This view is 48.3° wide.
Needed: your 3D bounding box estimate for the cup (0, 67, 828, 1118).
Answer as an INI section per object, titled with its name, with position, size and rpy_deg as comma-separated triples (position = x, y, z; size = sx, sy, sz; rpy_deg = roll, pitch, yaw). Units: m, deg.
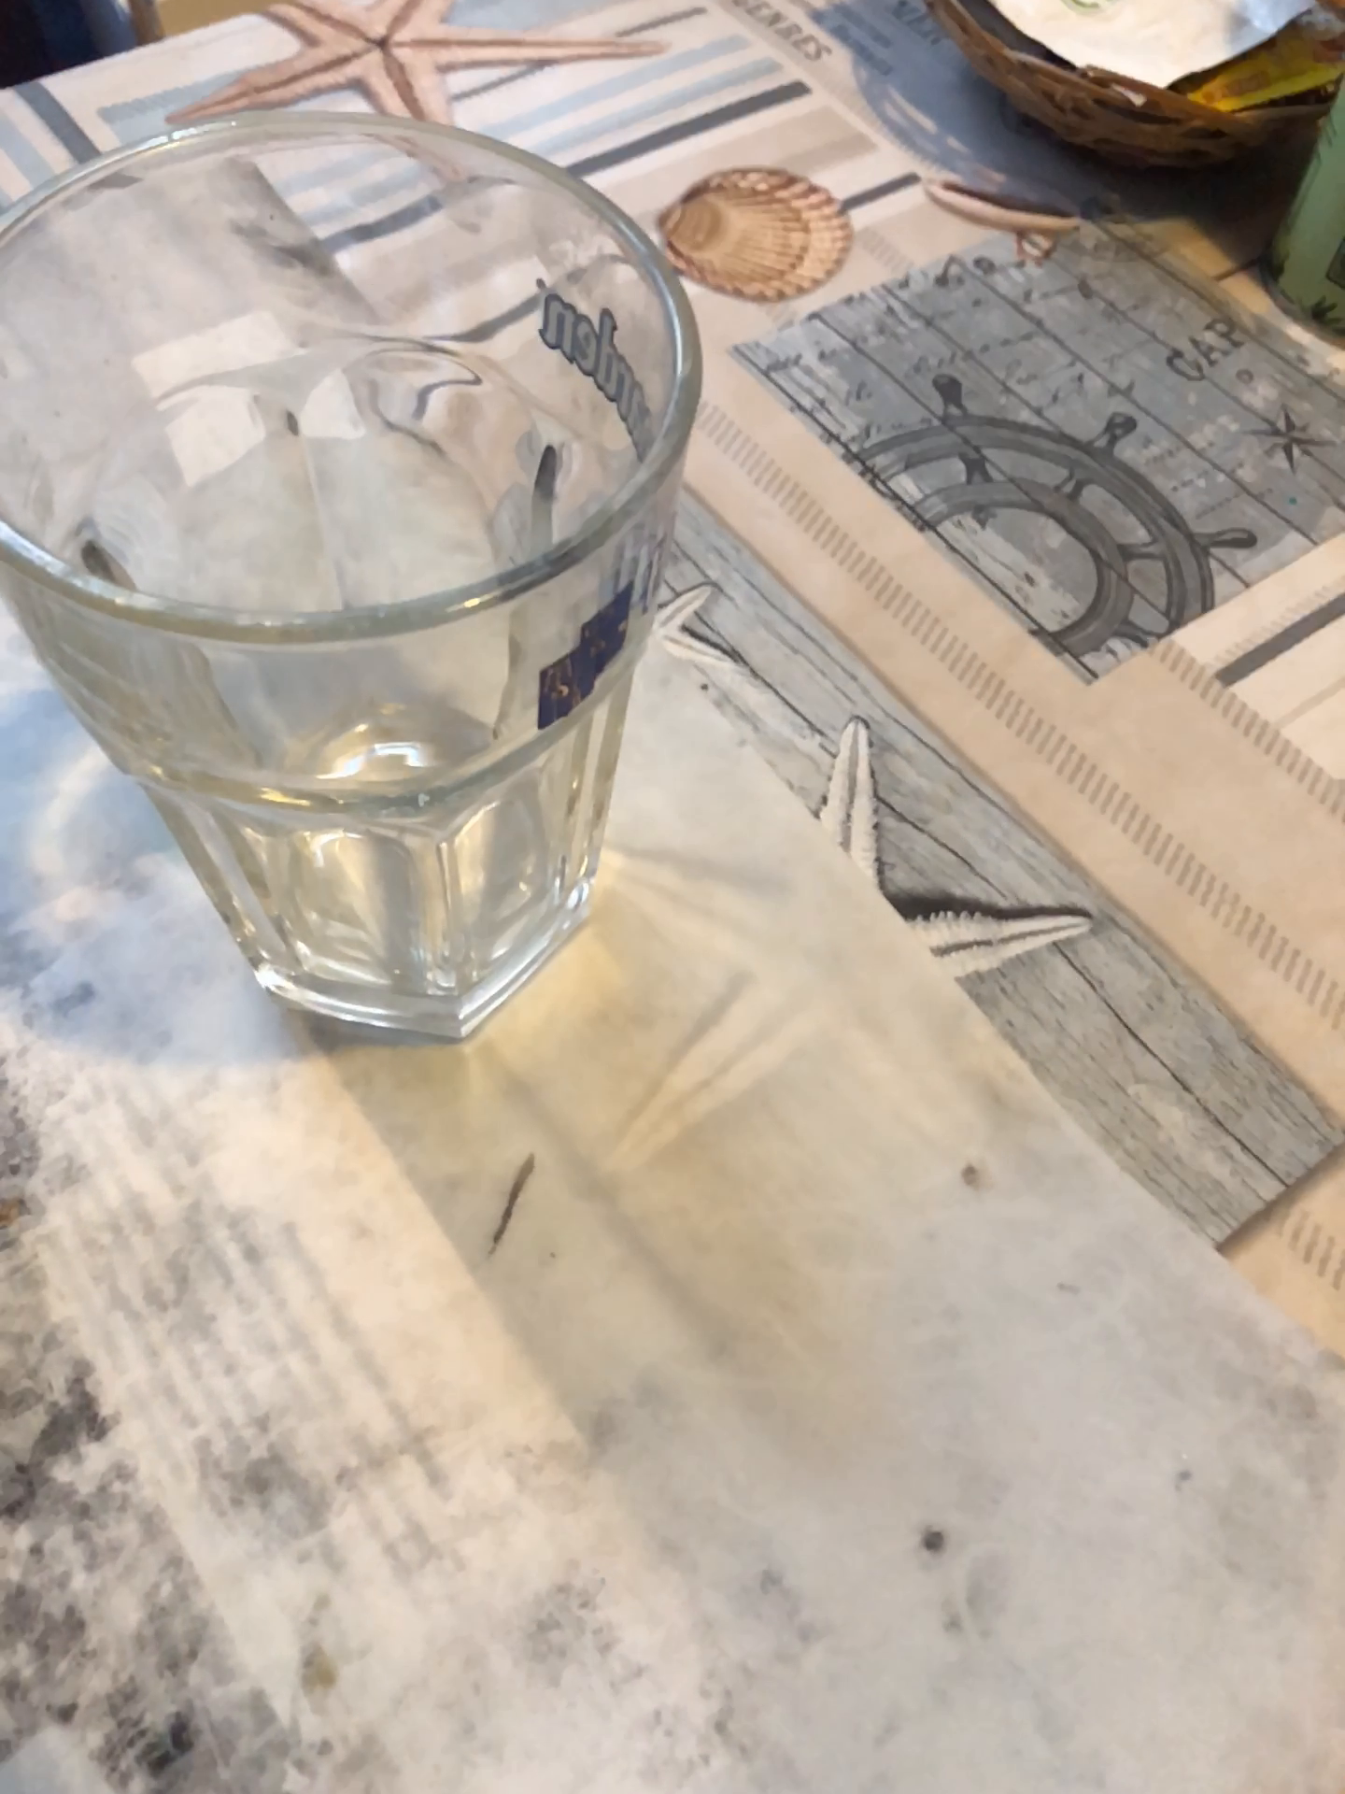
[cup]
position = -0.045, -0.040, 0.238
size = 0.098, 0.123, 0.099
rpy_deg = 2, 61, -4
